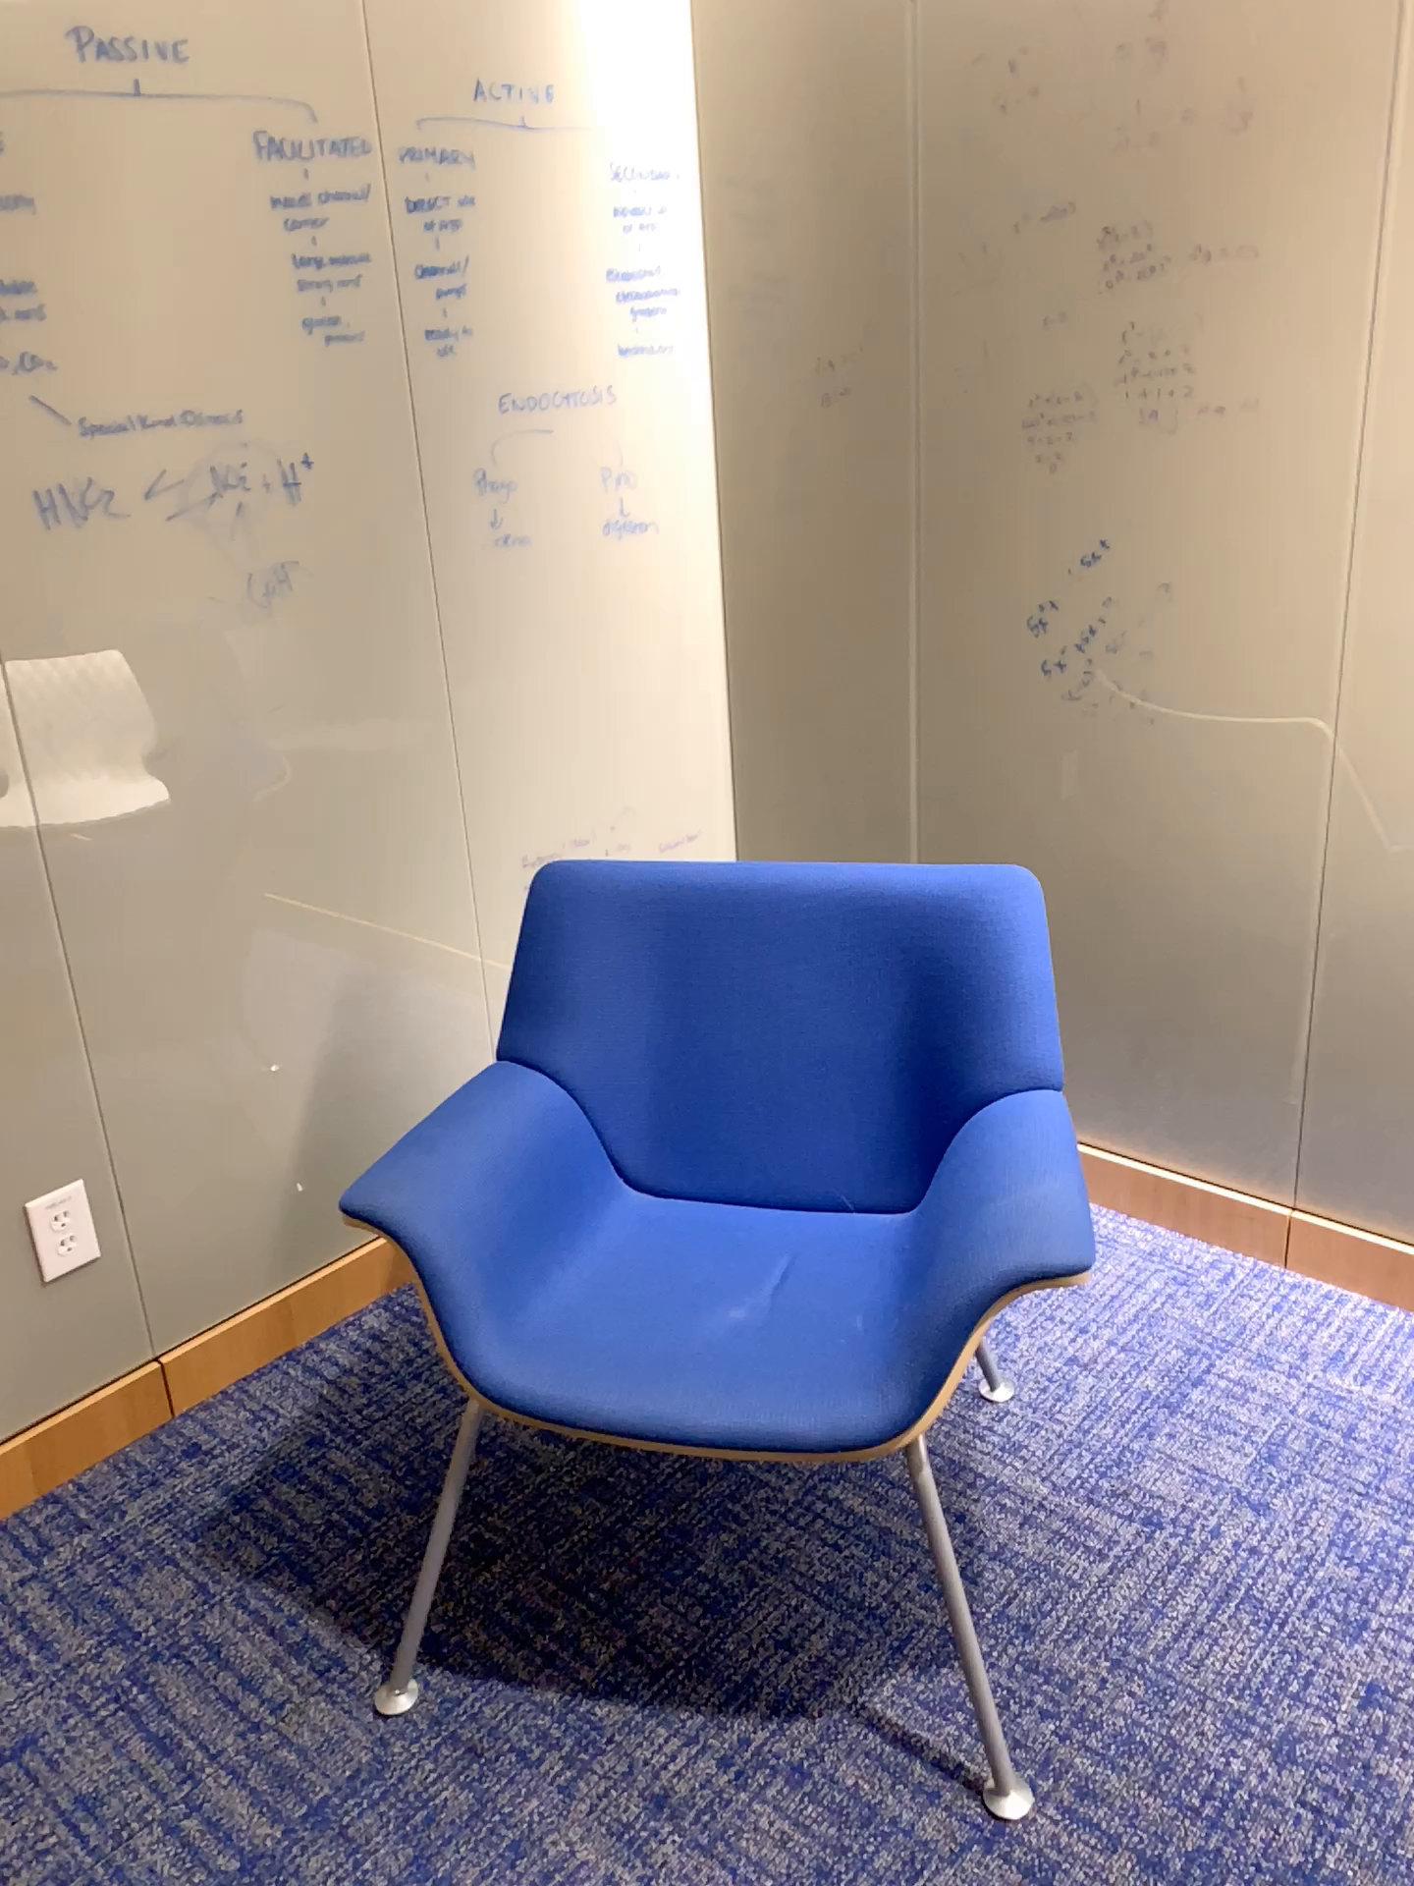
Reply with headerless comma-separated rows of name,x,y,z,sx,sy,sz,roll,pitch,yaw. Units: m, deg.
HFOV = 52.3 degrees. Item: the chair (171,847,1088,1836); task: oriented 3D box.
chair,0.013,0.347,1.641,0.788,0.714,0.742,1,21,14
